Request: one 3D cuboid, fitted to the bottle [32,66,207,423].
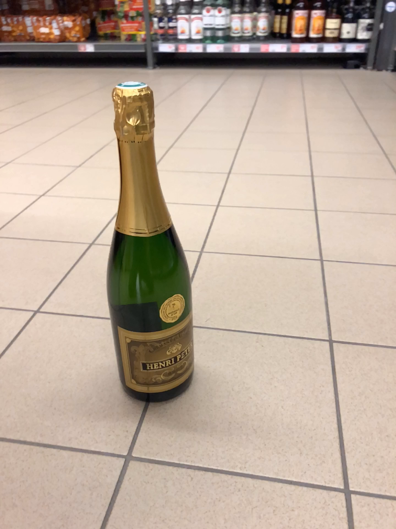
[{"bbox_3d":[-0.062,-0.012,0.416,0.100,0.308,0.100,-1,30,1],"label":"bottle"}]
